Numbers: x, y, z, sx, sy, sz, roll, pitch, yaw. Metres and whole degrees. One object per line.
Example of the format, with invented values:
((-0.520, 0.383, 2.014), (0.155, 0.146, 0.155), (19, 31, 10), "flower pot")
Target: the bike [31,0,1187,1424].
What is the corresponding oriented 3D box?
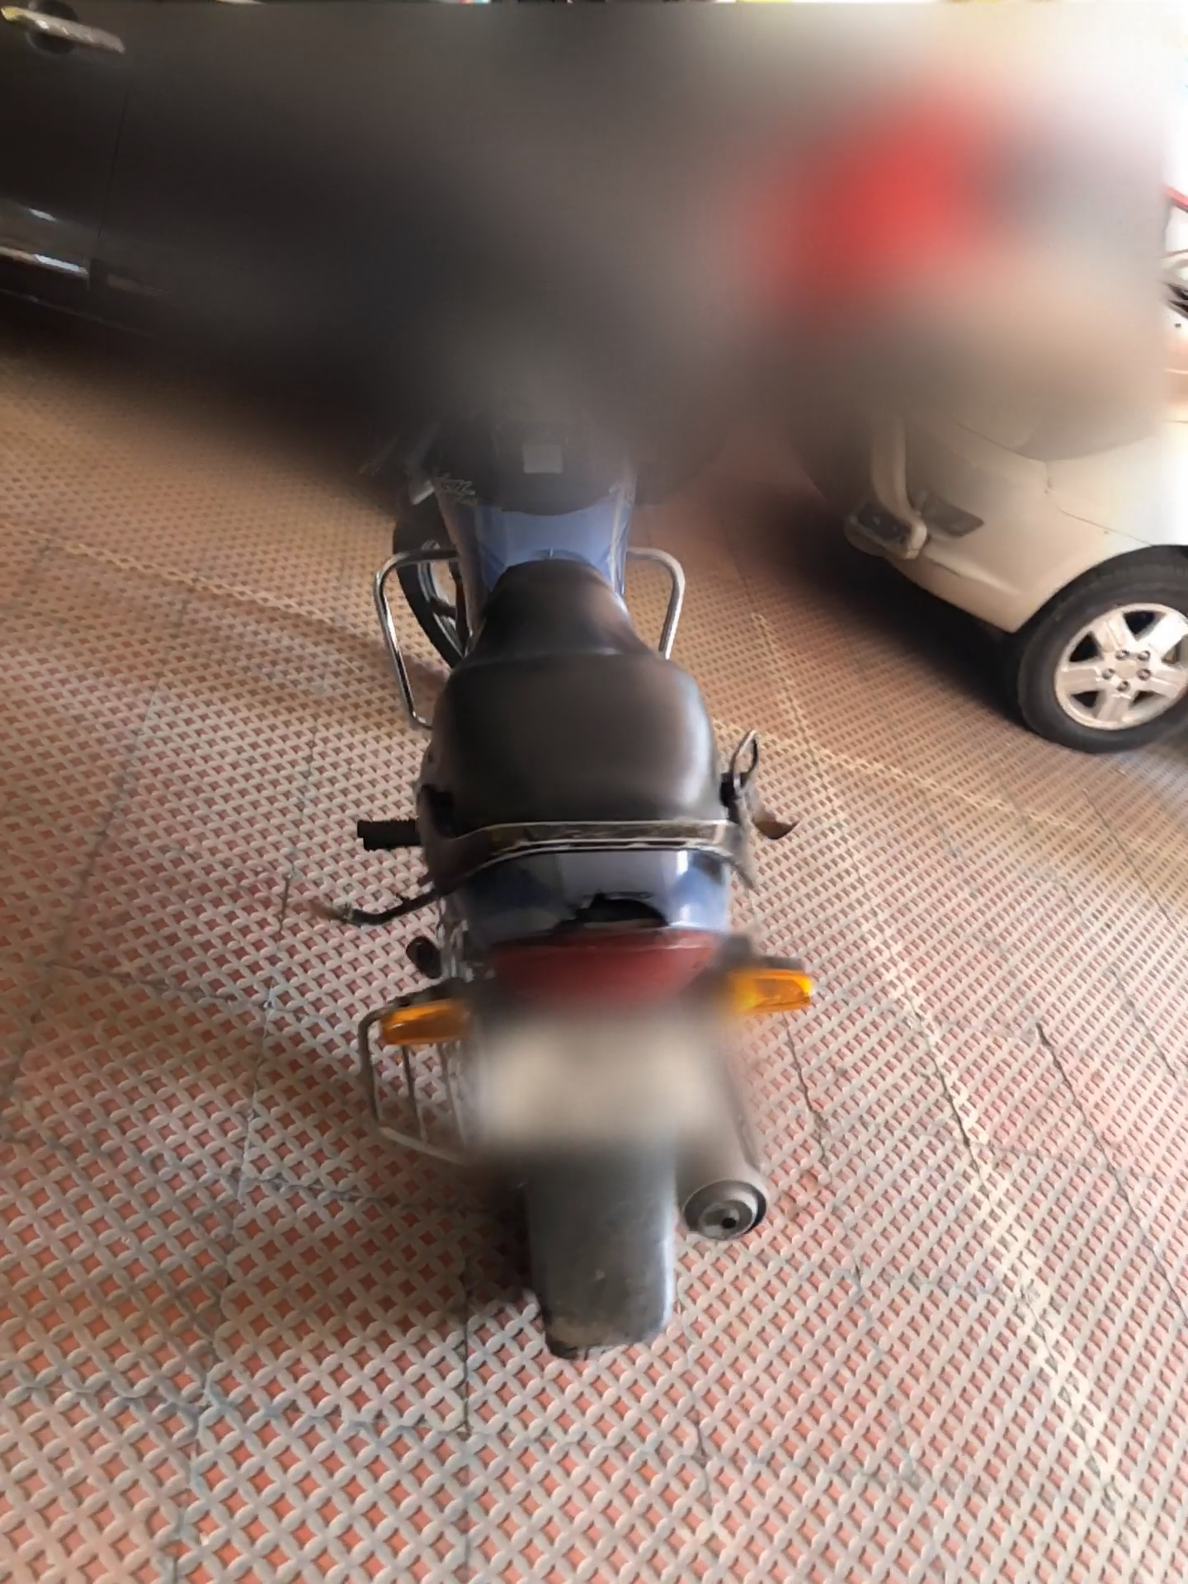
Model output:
((-0.238, -0.289, 1.770), (0.733, 1.073, 1.697), (9, 37, -24), "bike")
